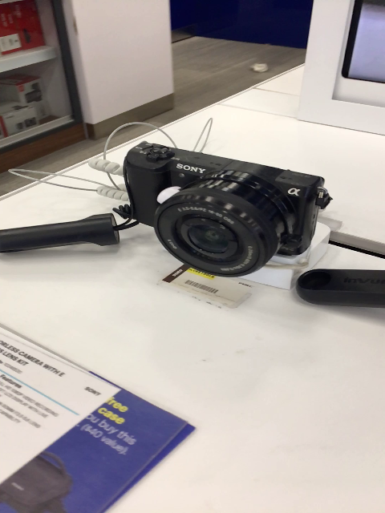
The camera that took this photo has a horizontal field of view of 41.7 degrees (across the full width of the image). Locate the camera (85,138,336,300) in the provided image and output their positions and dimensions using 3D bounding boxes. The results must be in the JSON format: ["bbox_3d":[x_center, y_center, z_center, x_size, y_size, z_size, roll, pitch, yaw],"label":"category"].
[{"bbox_3d":[0.010,-0.025,0.306,0.123,0.065,0.049,16,45,20],"label":"camera"}]
